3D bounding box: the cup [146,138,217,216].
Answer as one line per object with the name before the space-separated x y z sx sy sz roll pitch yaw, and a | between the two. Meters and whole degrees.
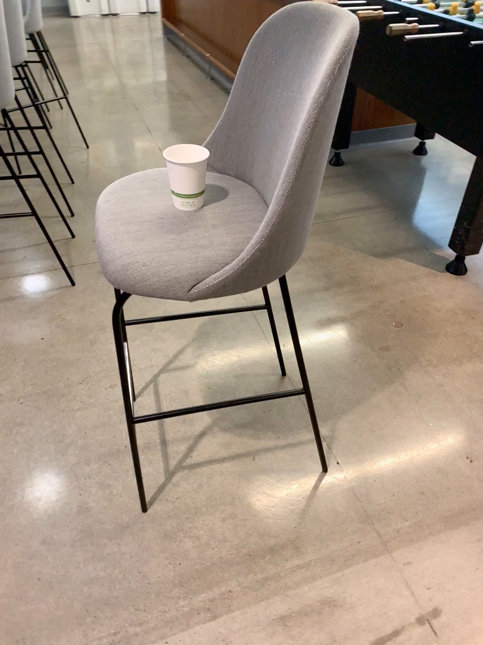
cup | -0.112 -0.279 0.940 0.090 0.099 0.090 0 40 0
